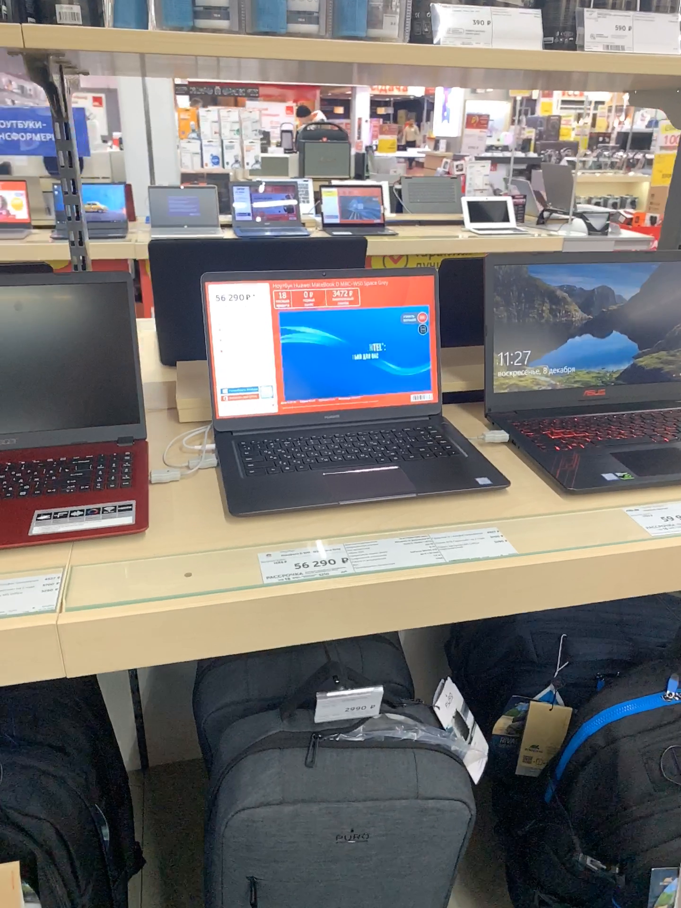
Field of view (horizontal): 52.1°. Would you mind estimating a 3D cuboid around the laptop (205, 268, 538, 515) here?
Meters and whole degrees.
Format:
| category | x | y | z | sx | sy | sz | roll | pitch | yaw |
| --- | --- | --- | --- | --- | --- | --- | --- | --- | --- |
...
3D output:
| category | x | y | z | sx | sy | sz | roll | pitch | yaw |
| --- | --- | --- | --- | --- | --- | --- | --- | --- | --- |
| laptop | 0.014 | -0.106 | 0.921 | 0.348 | 0.209 | 0.304 | -5 | 26 | -13 |
